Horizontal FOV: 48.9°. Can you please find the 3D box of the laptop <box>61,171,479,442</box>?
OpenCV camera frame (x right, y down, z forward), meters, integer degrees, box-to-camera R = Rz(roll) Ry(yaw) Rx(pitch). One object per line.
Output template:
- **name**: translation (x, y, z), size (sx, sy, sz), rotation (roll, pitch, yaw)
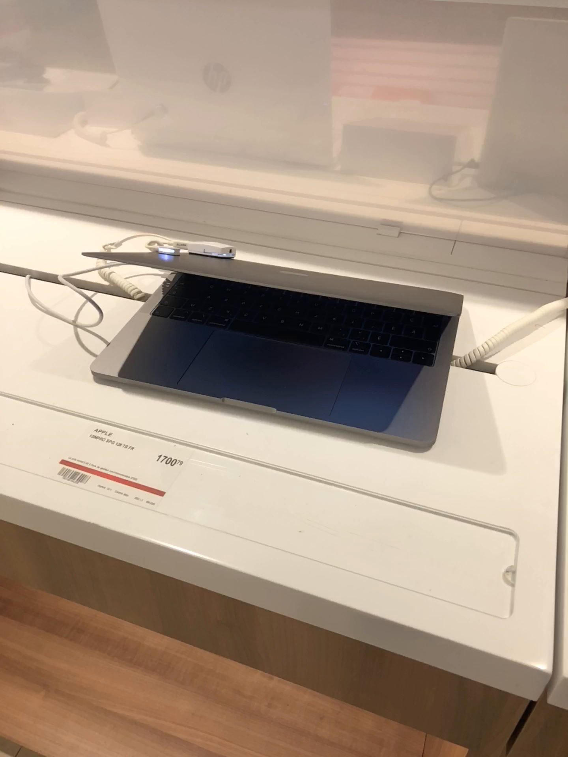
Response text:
- **laptop**: translation (0.001, -0.081, 0.558), size (0.304, 0.104, 0.202), rotation (11, 42, 14)
